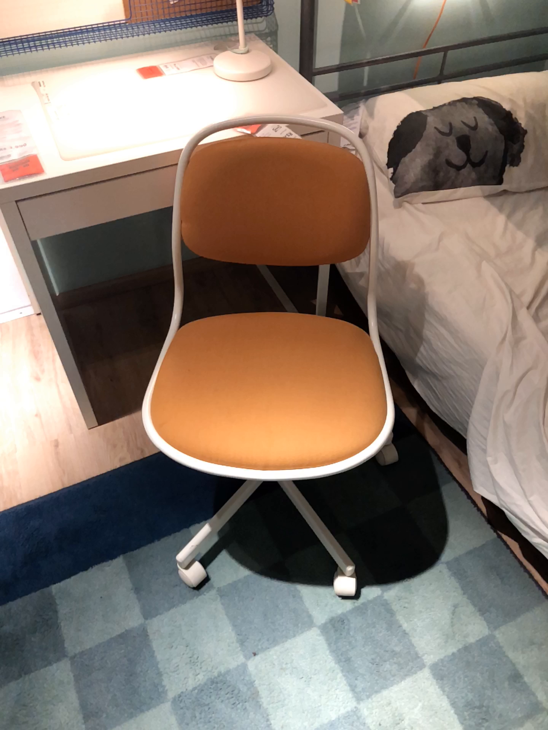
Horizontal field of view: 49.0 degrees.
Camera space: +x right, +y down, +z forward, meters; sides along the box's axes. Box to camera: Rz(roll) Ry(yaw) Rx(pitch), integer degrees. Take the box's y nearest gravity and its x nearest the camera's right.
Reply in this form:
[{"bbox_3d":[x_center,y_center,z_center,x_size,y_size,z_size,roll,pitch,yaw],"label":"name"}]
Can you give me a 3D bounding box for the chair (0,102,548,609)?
[{"bbox_3d":[0.010,0.023,1.150,0.610,0.795,0.563,1,48,2],"label":"chair"}]
